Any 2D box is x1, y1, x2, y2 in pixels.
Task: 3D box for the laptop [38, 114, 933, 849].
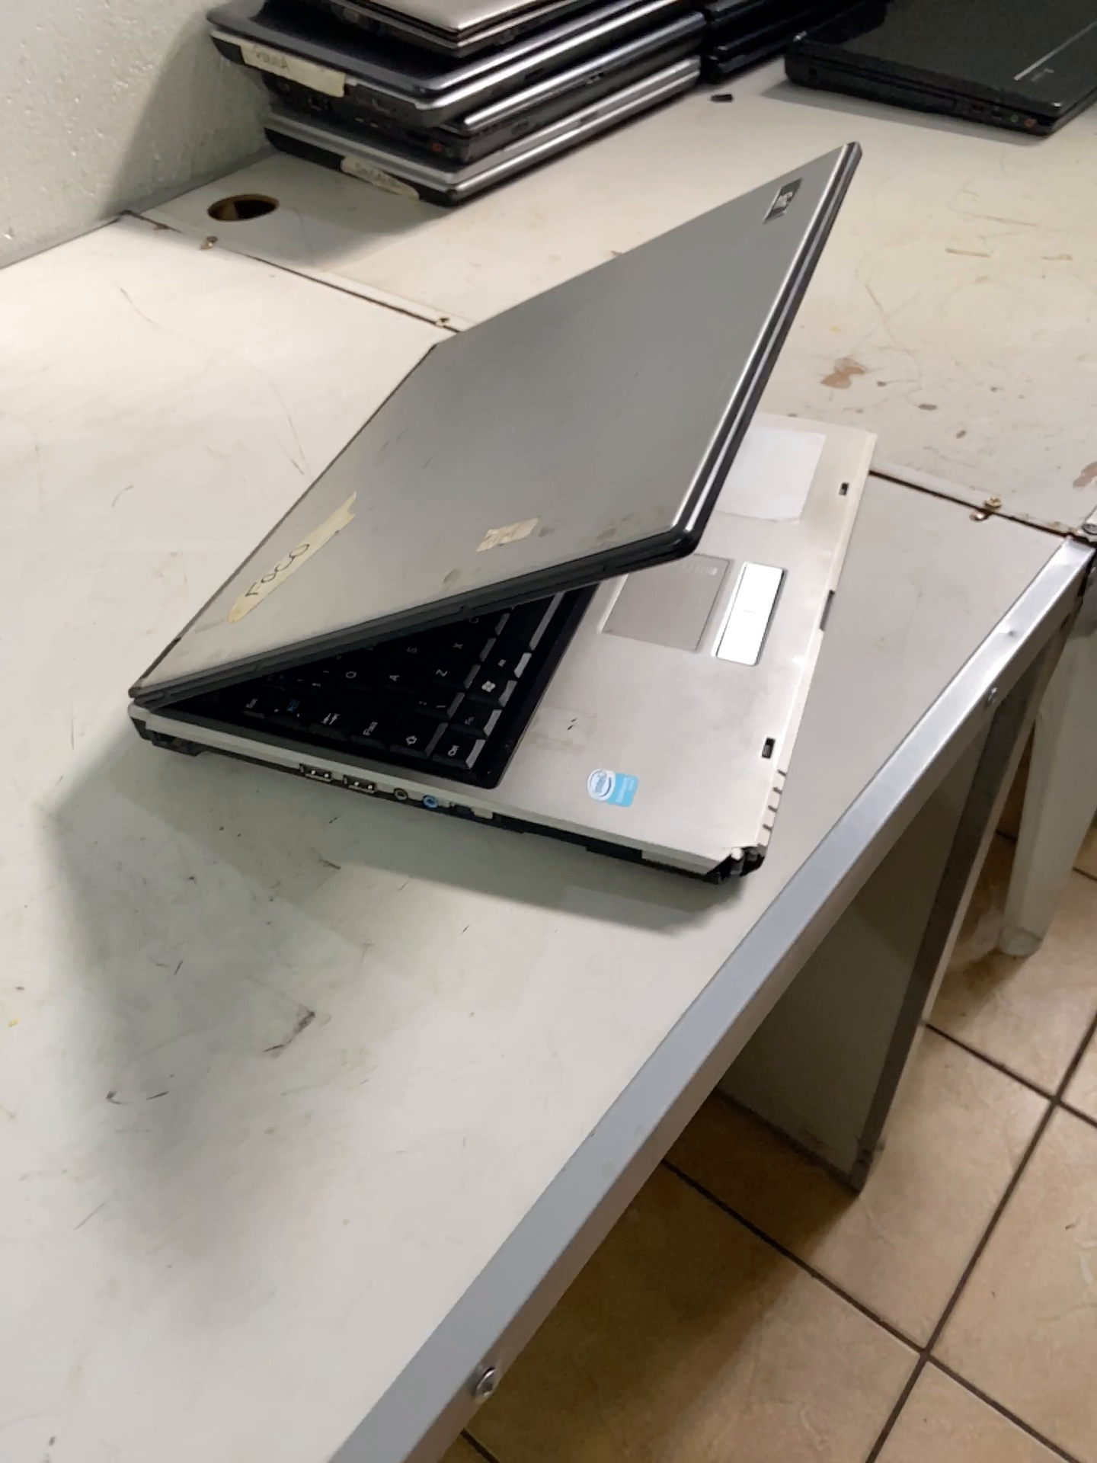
[{"bbox_3d":[0.005,-0.139,0.506,0.253,0.130,0.318,14,49,15],"label":"laptop"}]
